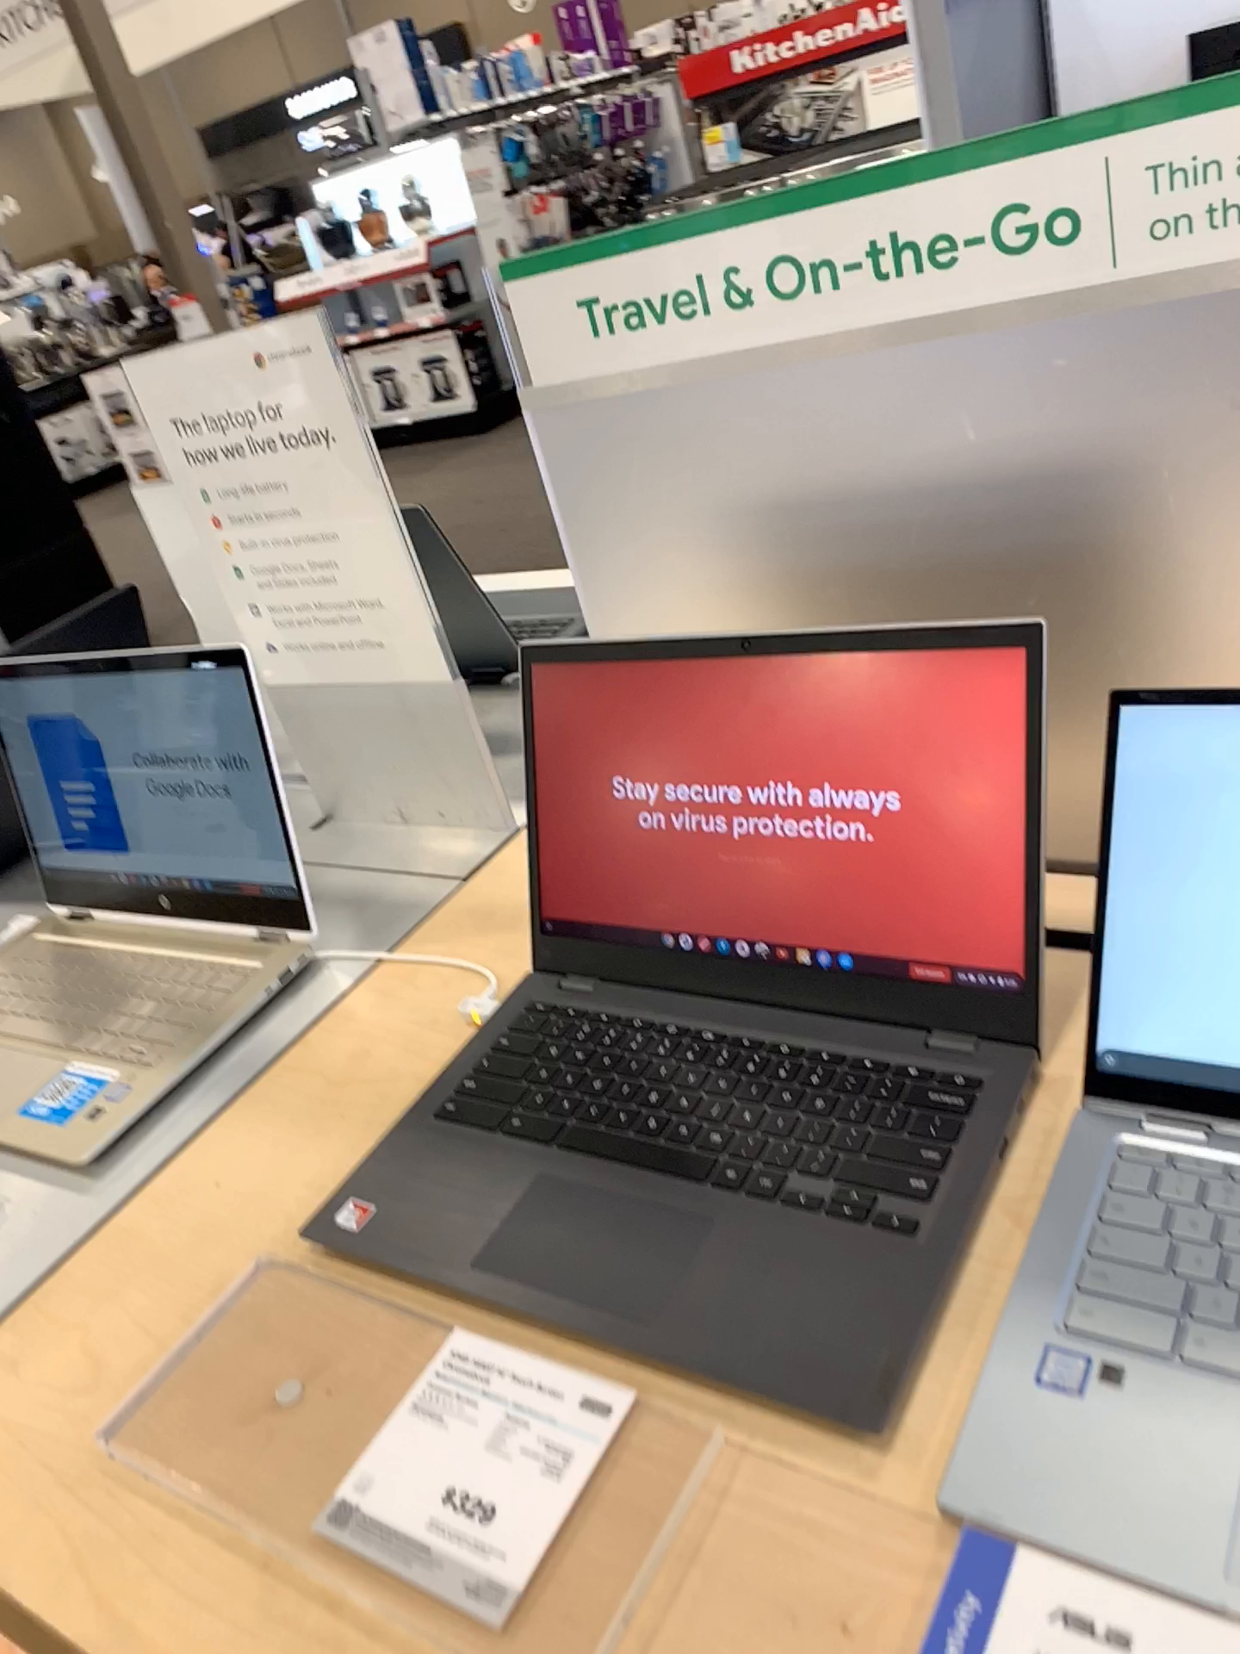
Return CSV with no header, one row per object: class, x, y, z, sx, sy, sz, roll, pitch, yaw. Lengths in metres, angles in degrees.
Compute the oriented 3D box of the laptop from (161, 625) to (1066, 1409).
laptop,0.017,0.053,0.634,0.310,0.188,0.300,4,34,34
